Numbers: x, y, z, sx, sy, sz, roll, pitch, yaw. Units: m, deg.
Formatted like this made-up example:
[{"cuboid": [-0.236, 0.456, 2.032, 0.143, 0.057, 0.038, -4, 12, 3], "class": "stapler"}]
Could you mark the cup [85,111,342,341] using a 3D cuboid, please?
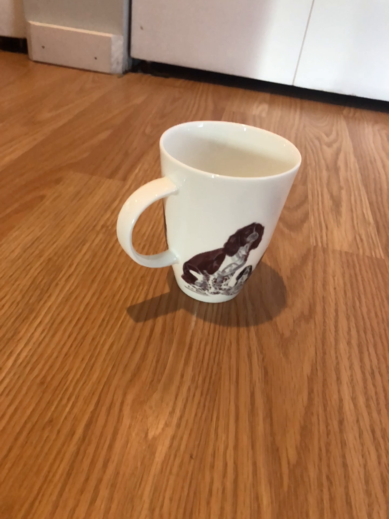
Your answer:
[{"cuboid": [0.006, -0.030, 0.277, 0.120, 0.090, 0.090, -17, 44, -31], "class": "cup"}]
